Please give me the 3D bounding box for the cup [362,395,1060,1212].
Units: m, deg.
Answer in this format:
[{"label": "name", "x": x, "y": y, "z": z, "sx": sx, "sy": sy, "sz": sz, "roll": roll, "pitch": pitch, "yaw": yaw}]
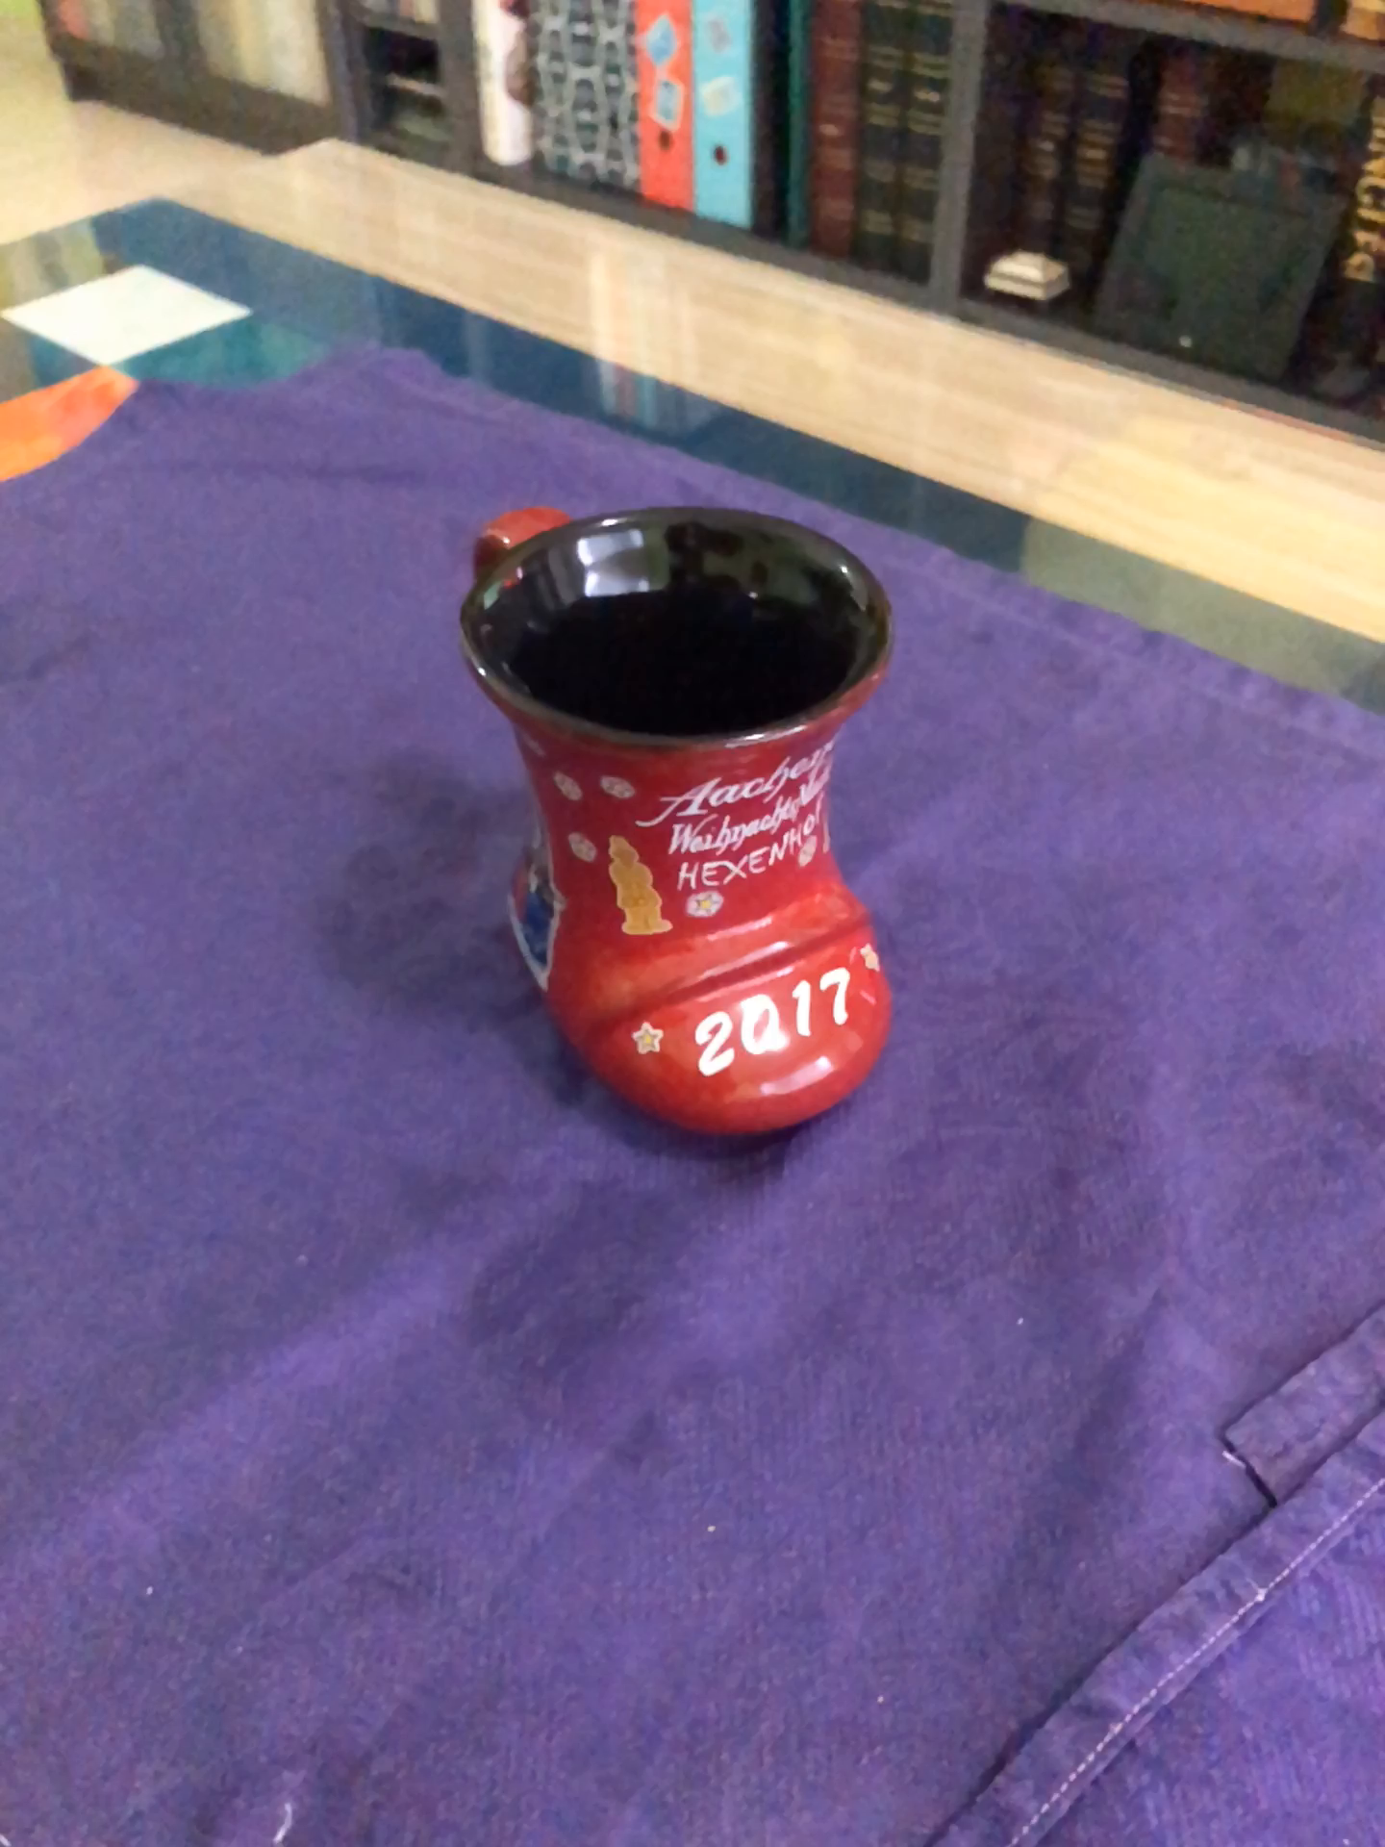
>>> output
[{"label": "cup", "x": -0.002, "y": -0.029, "z": 0.299, "sx": 0.070, "sy": 0.090, "sz": 0.120, "roll": -22, "pitch": 47, "yaw": -21}]
